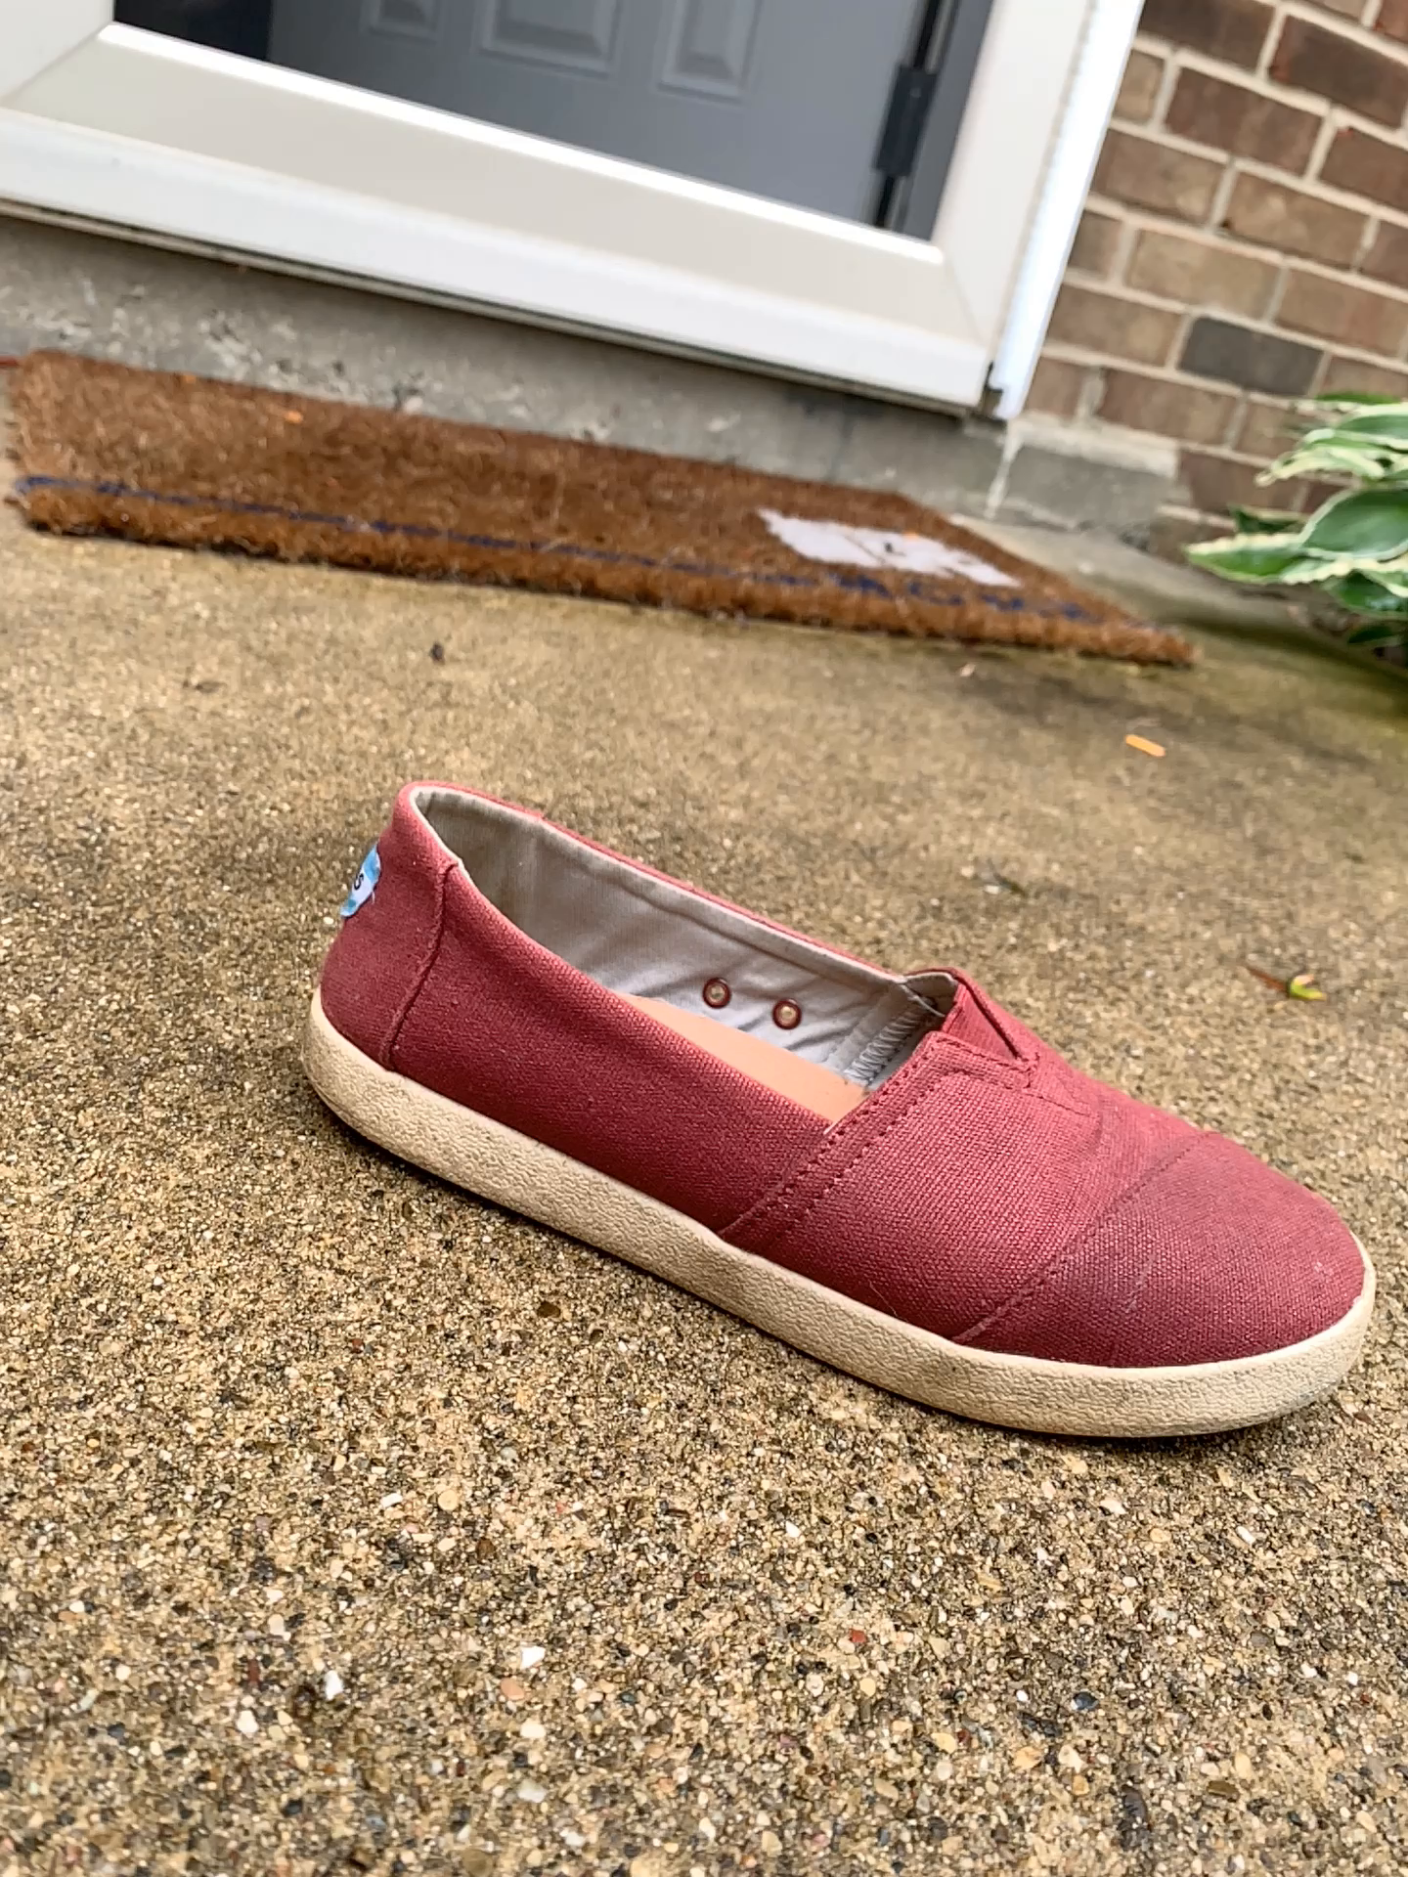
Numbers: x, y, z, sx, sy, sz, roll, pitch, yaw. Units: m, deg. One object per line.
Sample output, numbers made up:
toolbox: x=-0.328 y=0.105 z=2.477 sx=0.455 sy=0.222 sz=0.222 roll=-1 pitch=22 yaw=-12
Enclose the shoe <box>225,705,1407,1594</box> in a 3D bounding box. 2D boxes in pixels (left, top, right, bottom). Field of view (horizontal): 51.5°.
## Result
shoe: x=0.034 y=0.035 z=0.347 sx=0.265 sy=0.089 sz=0.098 roll=19 pitch=25 yaw=10
